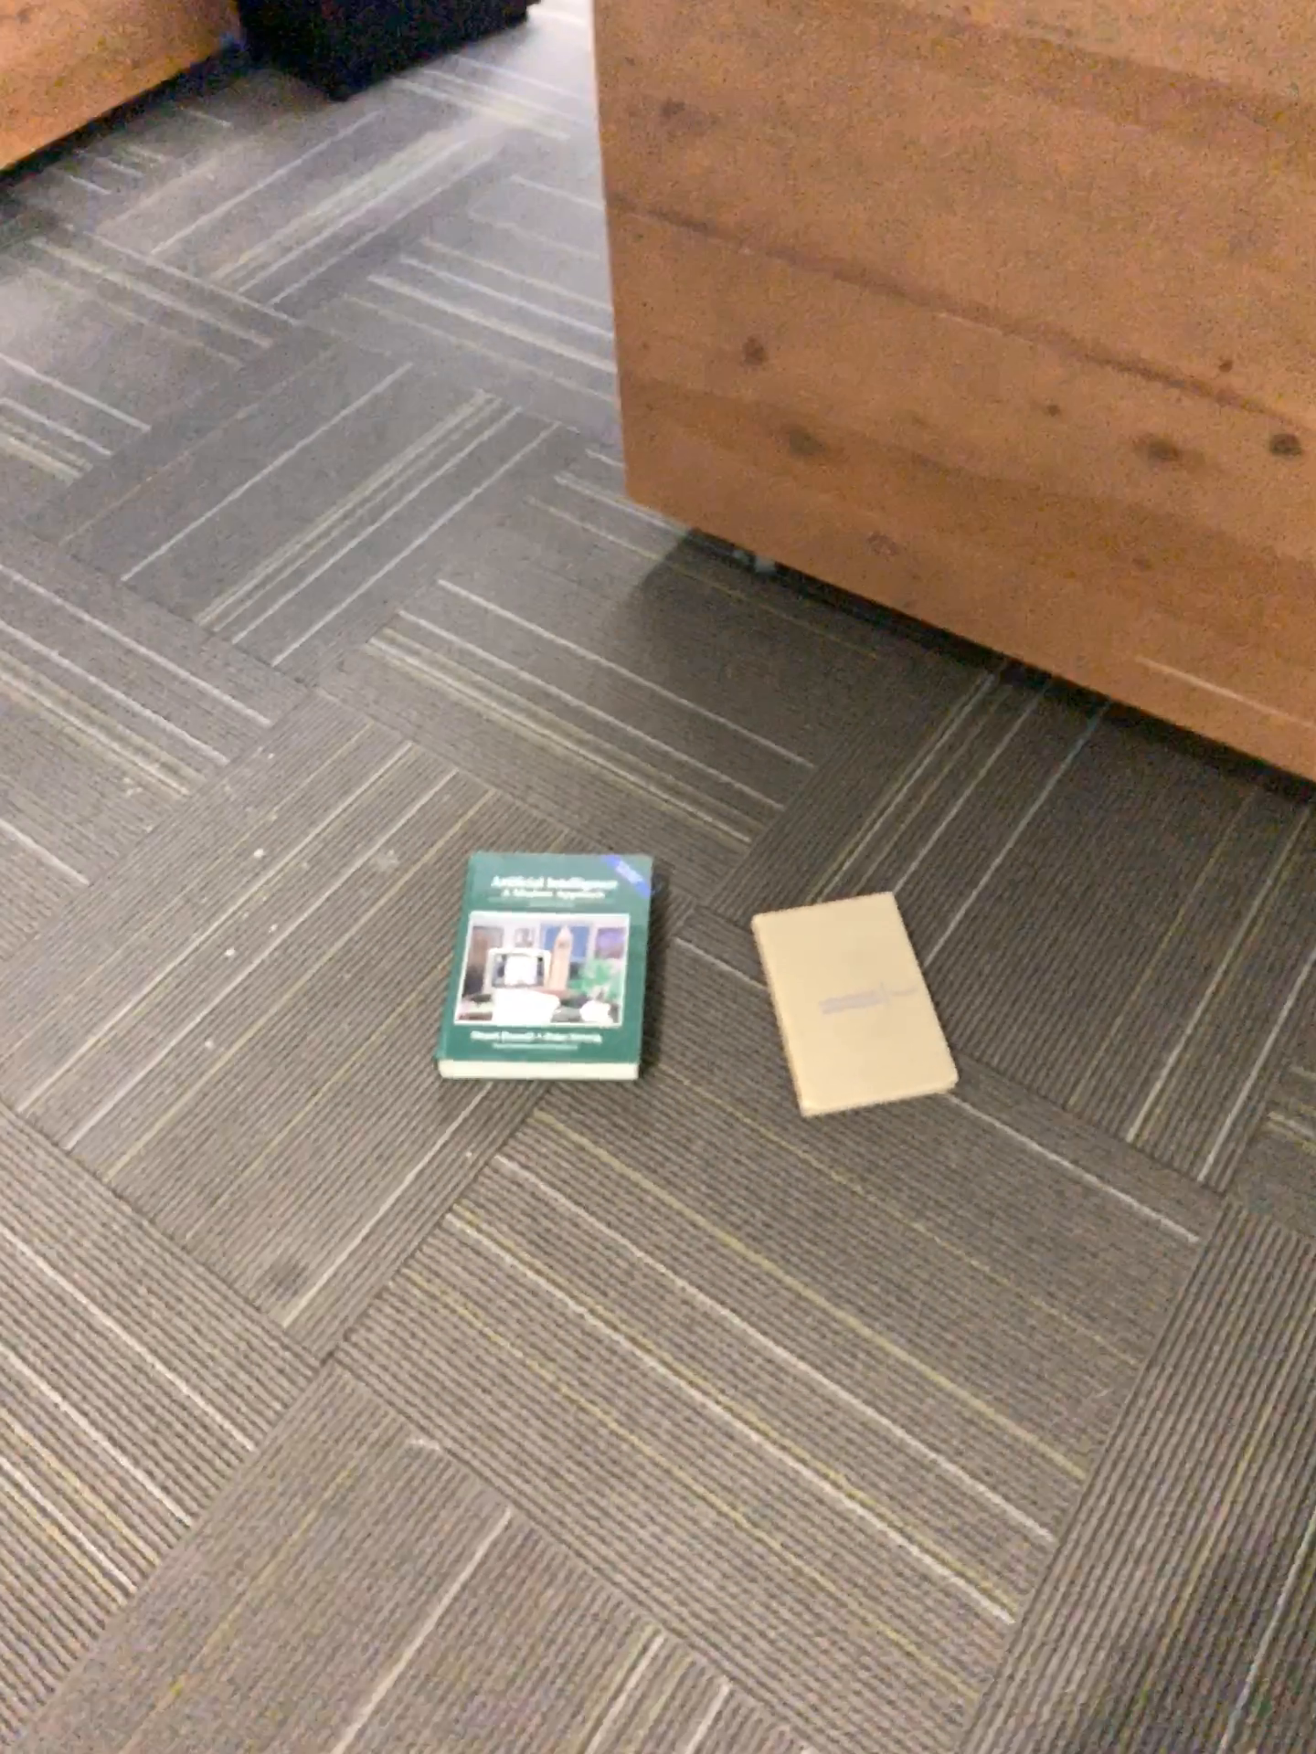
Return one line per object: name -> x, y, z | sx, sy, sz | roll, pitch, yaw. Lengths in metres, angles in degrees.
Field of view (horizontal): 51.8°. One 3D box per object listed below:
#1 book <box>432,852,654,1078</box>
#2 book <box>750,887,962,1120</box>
book -> -0.114, 0.087, 1.429 | 0.210, 0.030, 0.261 | 0, 54, 3
book -> 0.200, 0.125, 1.408 | 0.160, 0.020, 0.241 | -10, 54, -4
